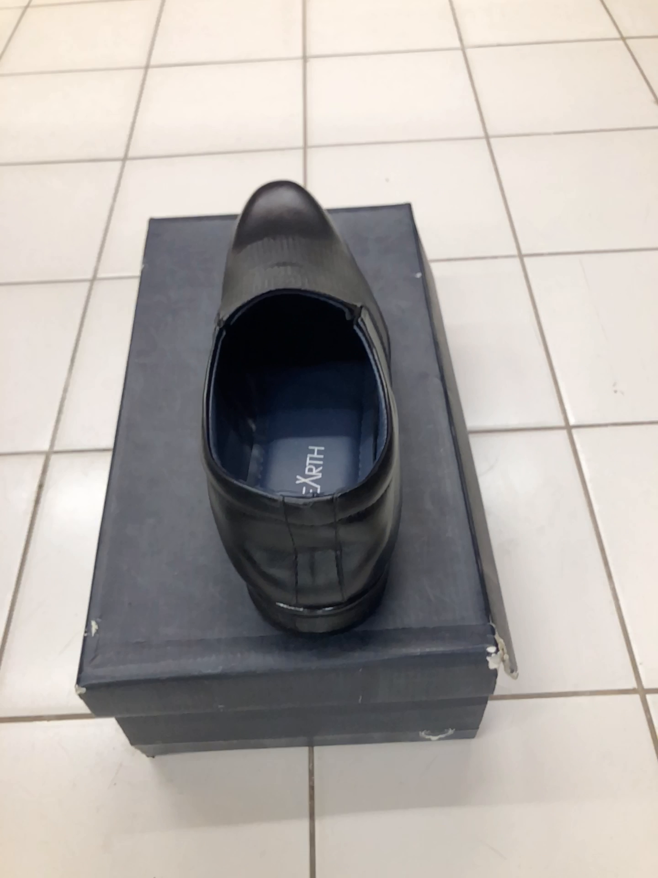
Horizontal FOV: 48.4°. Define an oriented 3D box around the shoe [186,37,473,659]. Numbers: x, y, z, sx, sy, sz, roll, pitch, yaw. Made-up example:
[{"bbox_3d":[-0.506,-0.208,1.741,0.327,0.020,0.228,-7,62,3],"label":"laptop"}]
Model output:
[{"bbox_3d":[-0.011,-0.072,0.408,0.100,0.129,0.342,-5,53,-1],"label":"shoe"}]
